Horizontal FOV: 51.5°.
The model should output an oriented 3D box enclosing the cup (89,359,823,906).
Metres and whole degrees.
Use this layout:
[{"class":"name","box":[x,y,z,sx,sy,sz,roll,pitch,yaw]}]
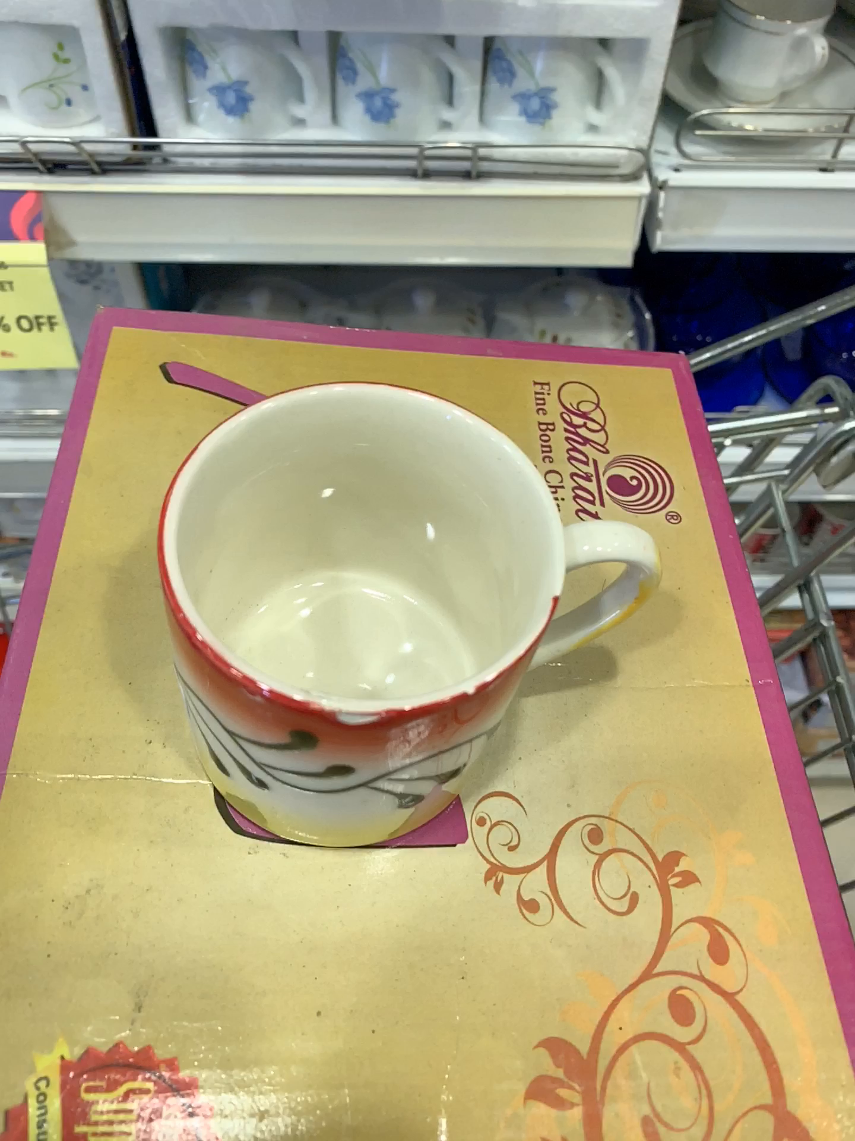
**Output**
[{"class":"cup","box":[-0.002,0.012,0.180,0.110,0.070,0.080,-2,56,-11]}]
